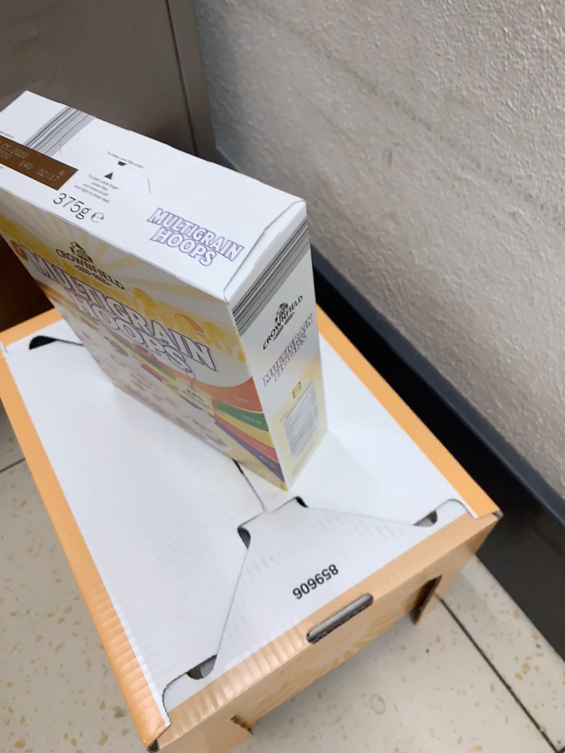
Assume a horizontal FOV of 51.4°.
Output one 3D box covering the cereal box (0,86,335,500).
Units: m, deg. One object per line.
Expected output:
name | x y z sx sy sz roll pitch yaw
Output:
cereal box | -0.072 -0.035 0.396 0.201 0.248 0.070 28 68 20
